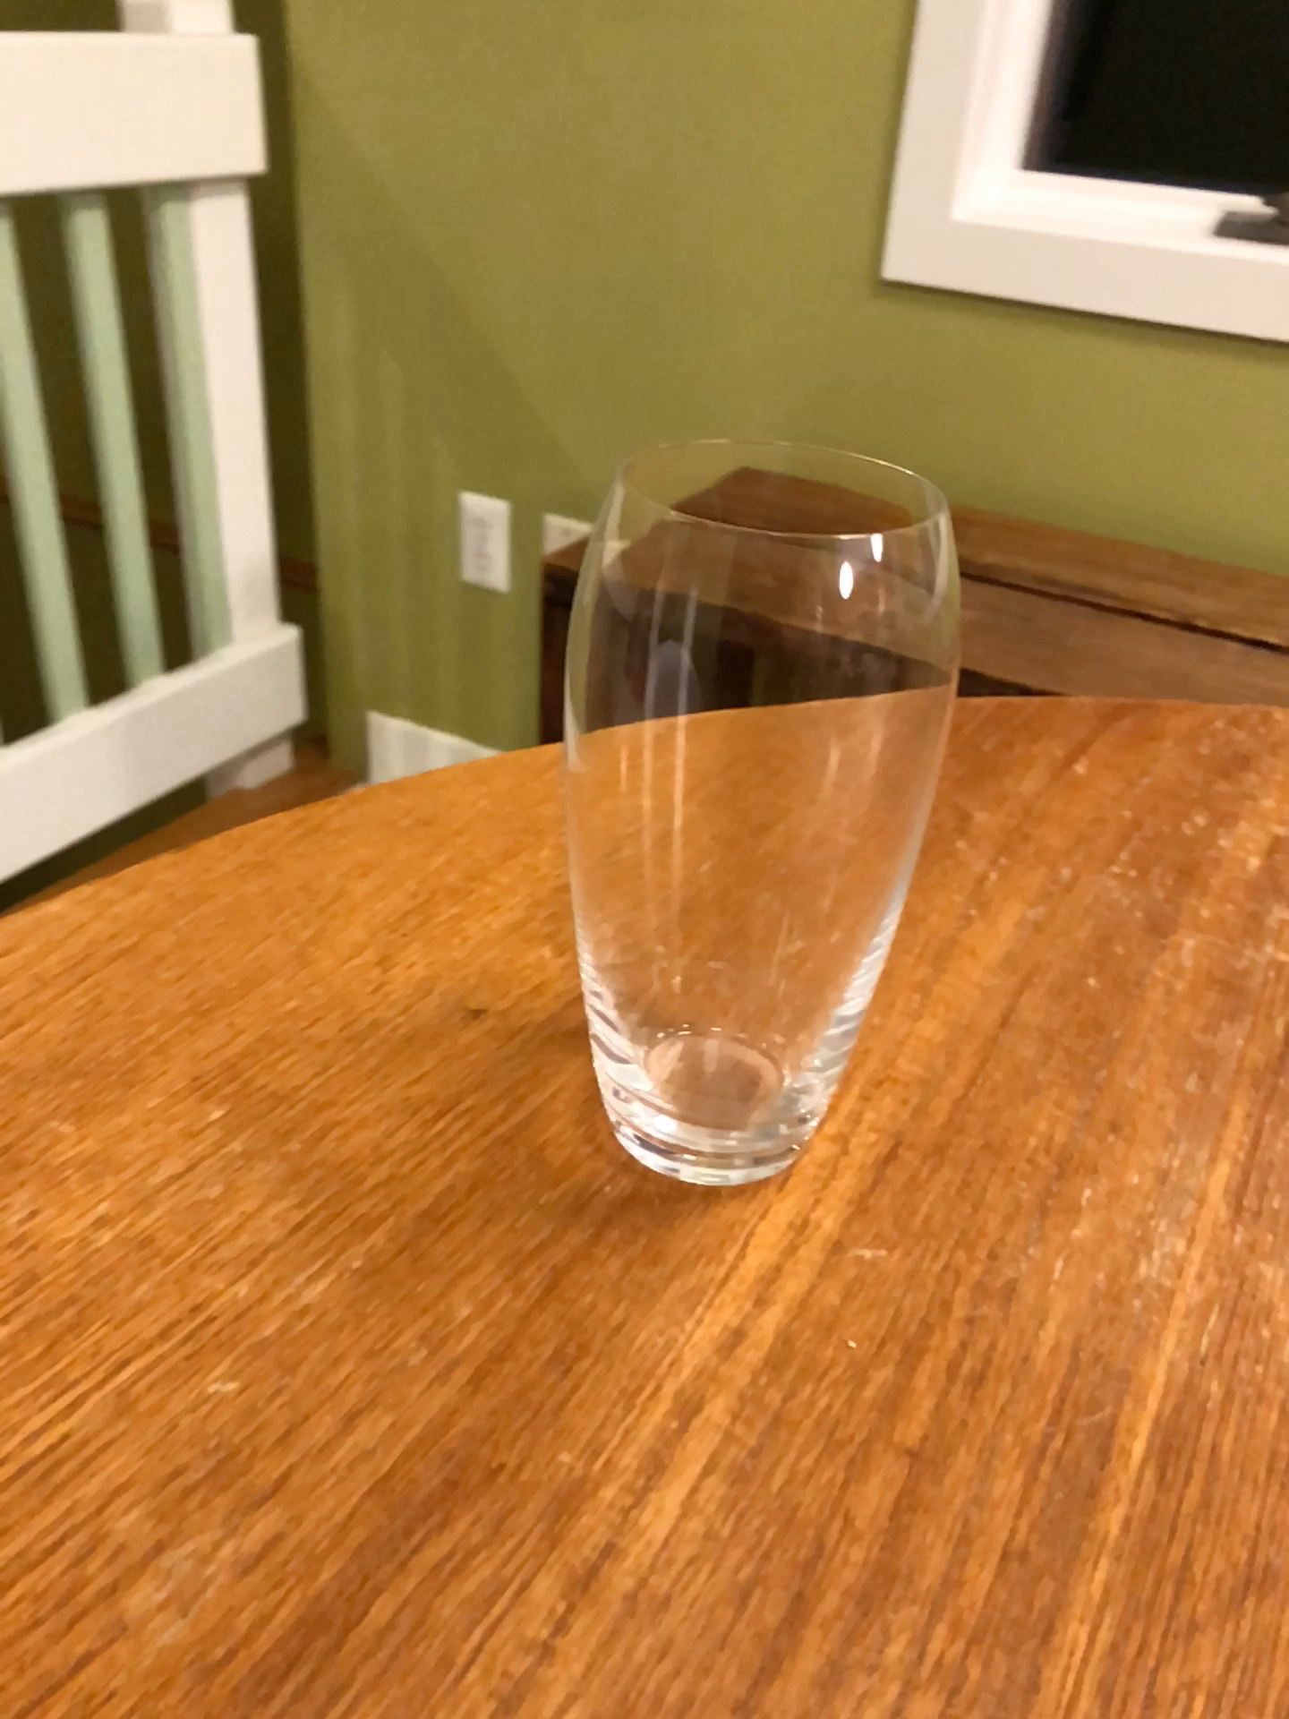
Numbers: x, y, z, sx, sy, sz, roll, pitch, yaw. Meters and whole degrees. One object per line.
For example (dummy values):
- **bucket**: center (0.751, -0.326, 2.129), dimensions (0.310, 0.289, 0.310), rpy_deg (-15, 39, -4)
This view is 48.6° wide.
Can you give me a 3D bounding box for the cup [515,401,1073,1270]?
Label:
- **cup**: center (0.029, -0.007, 0.316), dimensions (0.081, 0.156, 0.081), rpy_deg (3, 31, -2)
